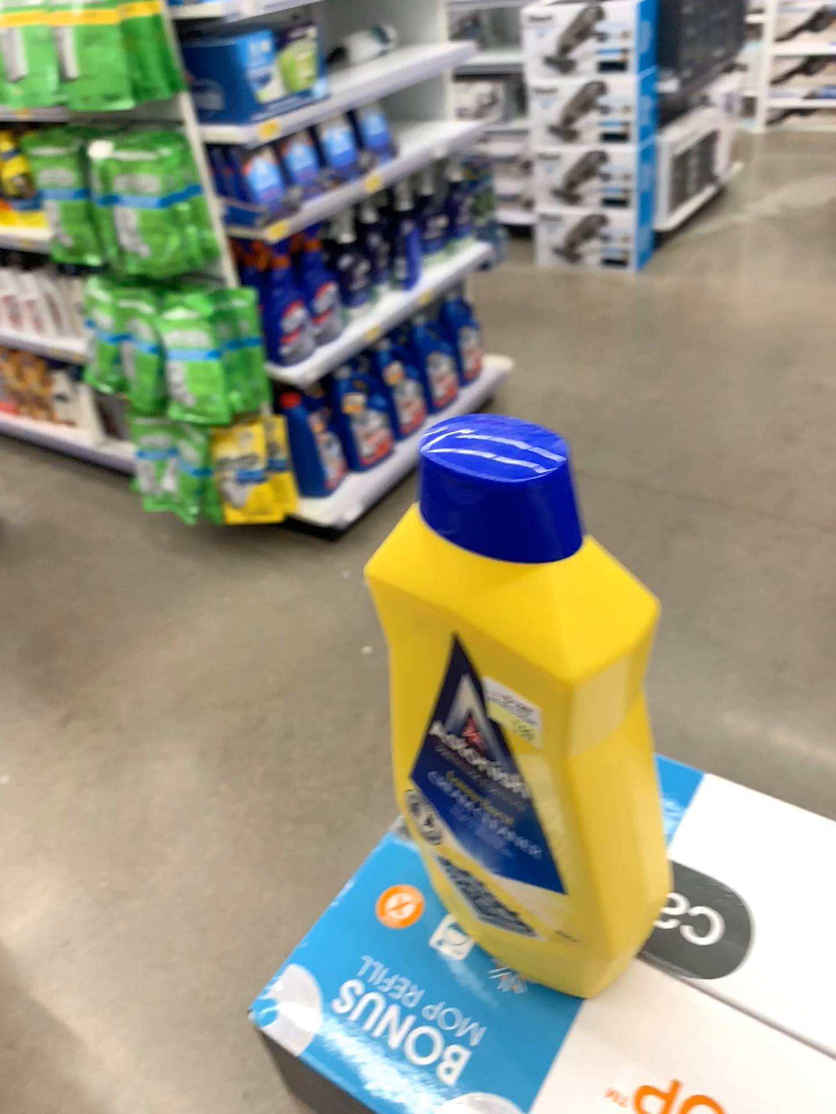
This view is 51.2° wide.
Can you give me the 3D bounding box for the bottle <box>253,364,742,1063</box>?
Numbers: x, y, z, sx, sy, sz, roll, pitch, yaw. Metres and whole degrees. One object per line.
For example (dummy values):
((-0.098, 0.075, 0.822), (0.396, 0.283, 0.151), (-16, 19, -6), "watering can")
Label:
((0.026, 0.052, 0.263), (0.100, 0.189, 0.060), (26, 49, 37), "bottle")
